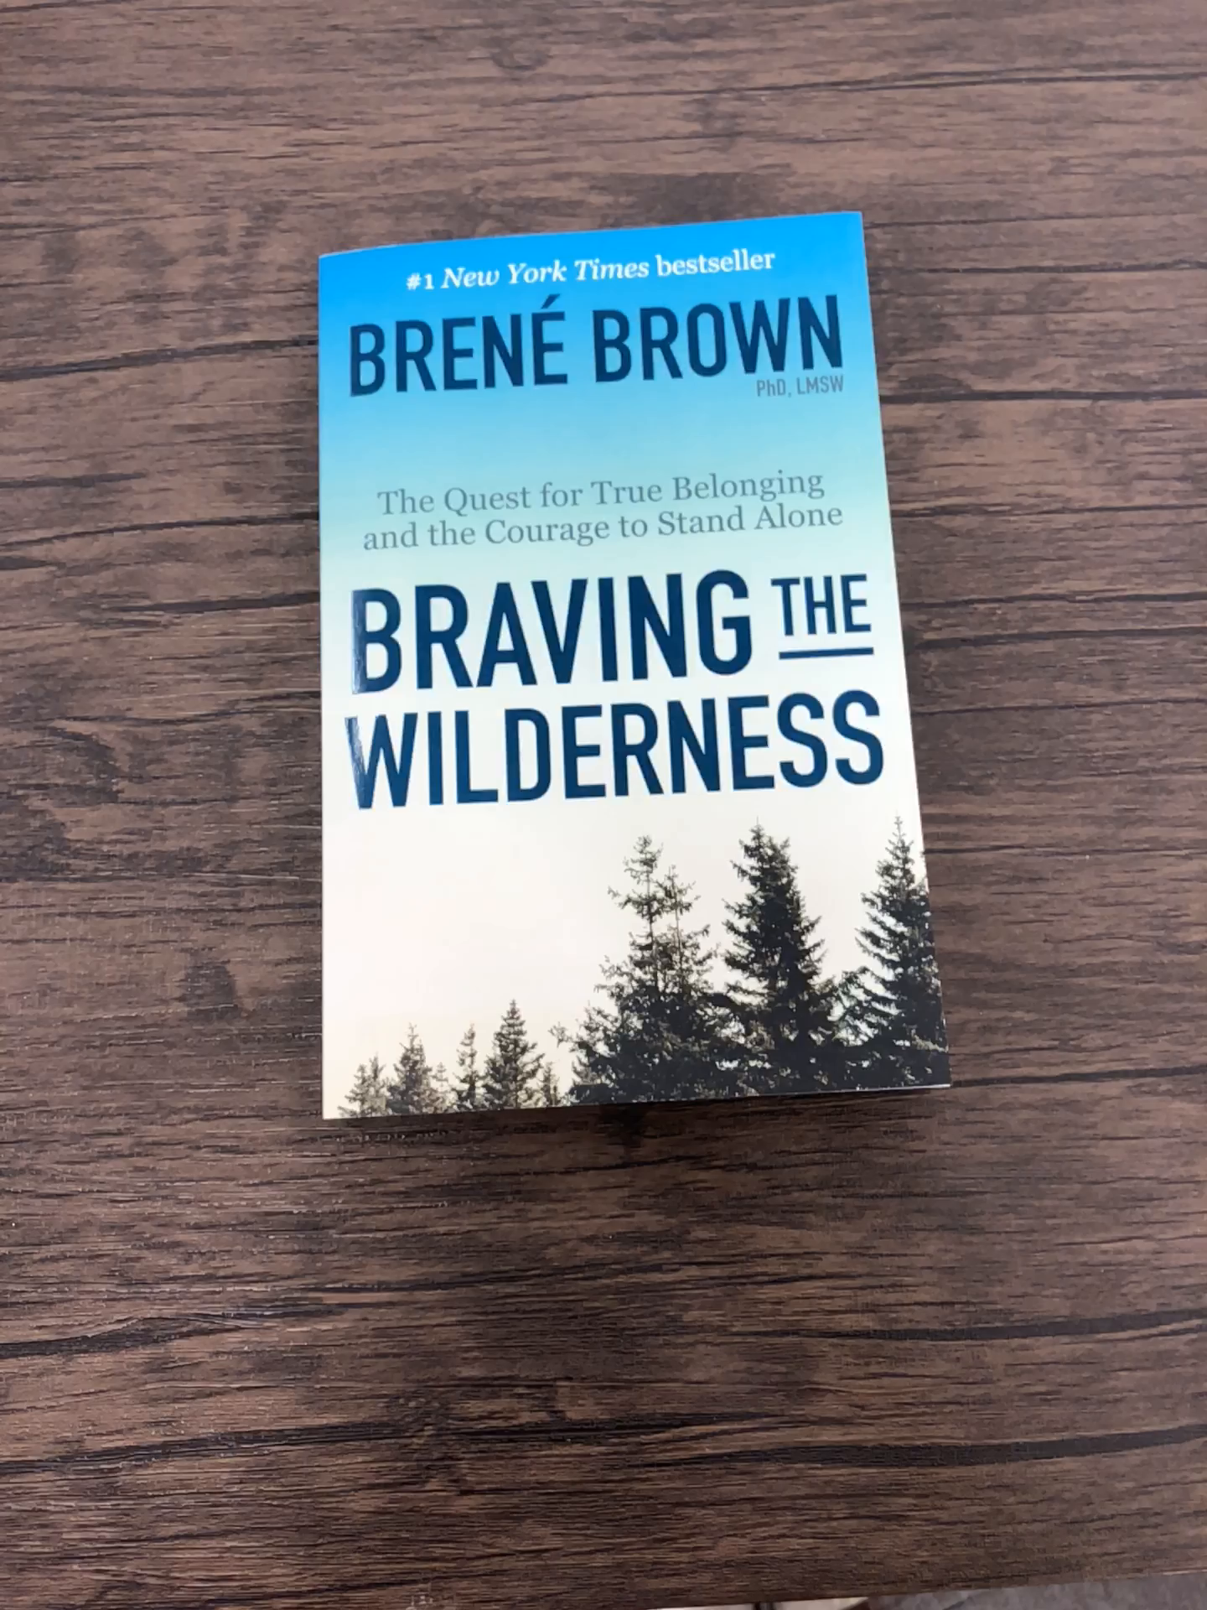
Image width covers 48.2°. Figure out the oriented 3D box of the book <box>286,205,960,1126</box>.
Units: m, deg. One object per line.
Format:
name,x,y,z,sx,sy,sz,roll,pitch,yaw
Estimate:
book,0.000,-0.033,0.292,0.130,0.021,0.191,-3,79,2
